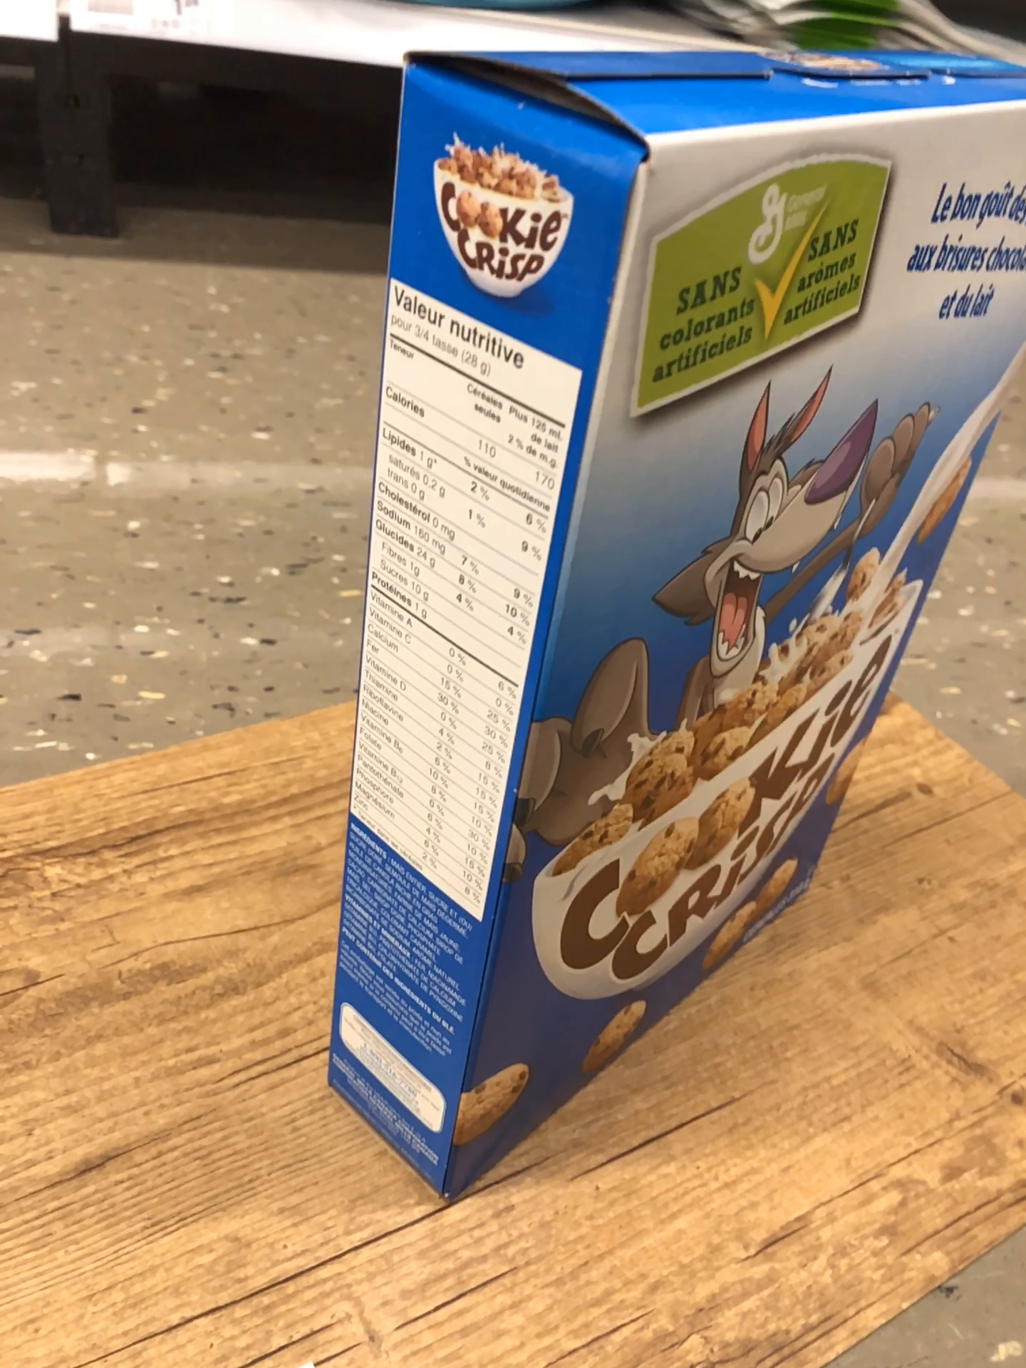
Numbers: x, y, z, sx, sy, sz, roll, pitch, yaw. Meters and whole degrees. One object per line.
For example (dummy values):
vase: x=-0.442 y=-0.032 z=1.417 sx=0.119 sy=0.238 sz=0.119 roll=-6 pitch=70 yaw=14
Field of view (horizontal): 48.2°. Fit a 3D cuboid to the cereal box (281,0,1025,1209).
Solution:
cereal box: x=0.041 y=-0.019 z=0.301 sx=0.060 sy=0.269 sz=0.201 roll=35 pitch=43 yaw=30
